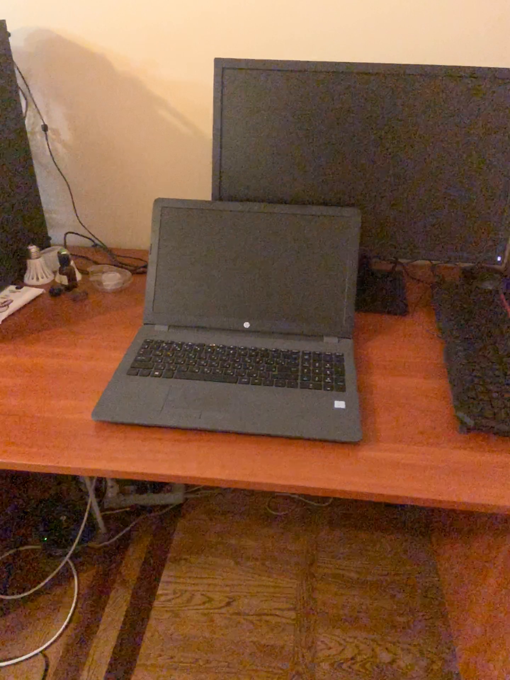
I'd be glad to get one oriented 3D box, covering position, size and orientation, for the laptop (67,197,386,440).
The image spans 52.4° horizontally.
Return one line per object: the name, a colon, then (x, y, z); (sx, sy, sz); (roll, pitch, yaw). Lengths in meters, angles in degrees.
laptop: (-0.020, -0.064, 0.814); (0.372, 0.188, 0.394); (4, 32, 4)
